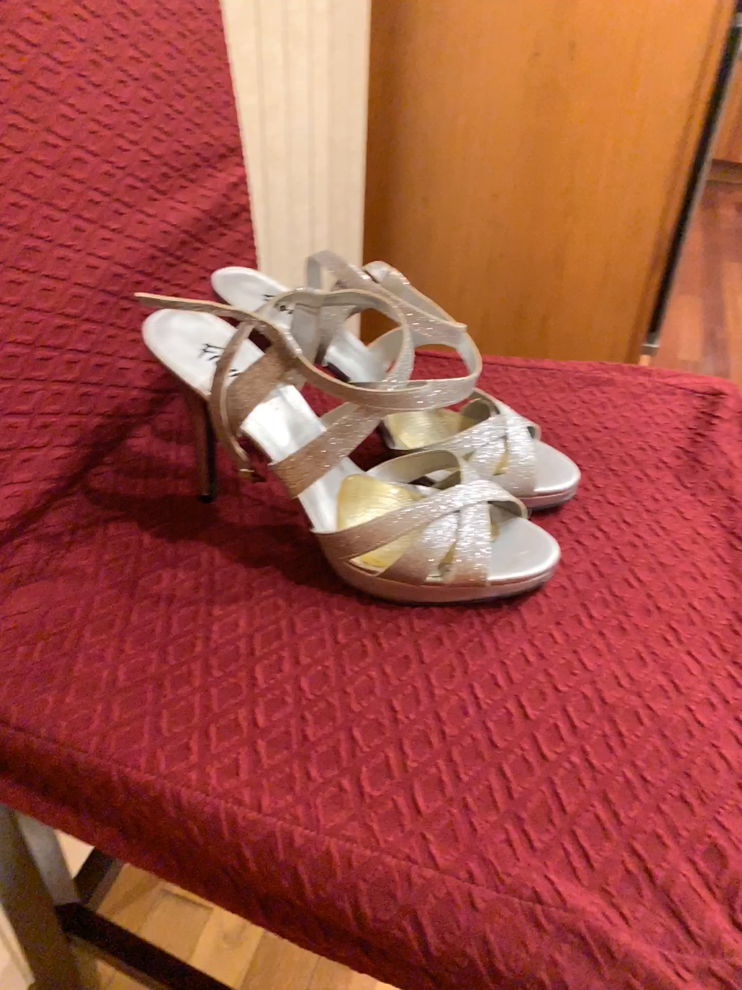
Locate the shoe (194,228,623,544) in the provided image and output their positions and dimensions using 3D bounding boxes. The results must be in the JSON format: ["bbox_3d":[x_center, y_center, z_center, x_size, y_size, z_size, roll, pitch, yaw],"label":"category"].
[{"bbox_3d":[0.023,-0.071,0.459,0.220,0.119,0.101,12,38,12],"label":"shoe"}]

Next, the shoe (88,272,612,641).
[{"bbox_3d":[-0.006,-0.025,0.397,0.230,0.119,0.101,10,38,10],"label":"shoe"}]
